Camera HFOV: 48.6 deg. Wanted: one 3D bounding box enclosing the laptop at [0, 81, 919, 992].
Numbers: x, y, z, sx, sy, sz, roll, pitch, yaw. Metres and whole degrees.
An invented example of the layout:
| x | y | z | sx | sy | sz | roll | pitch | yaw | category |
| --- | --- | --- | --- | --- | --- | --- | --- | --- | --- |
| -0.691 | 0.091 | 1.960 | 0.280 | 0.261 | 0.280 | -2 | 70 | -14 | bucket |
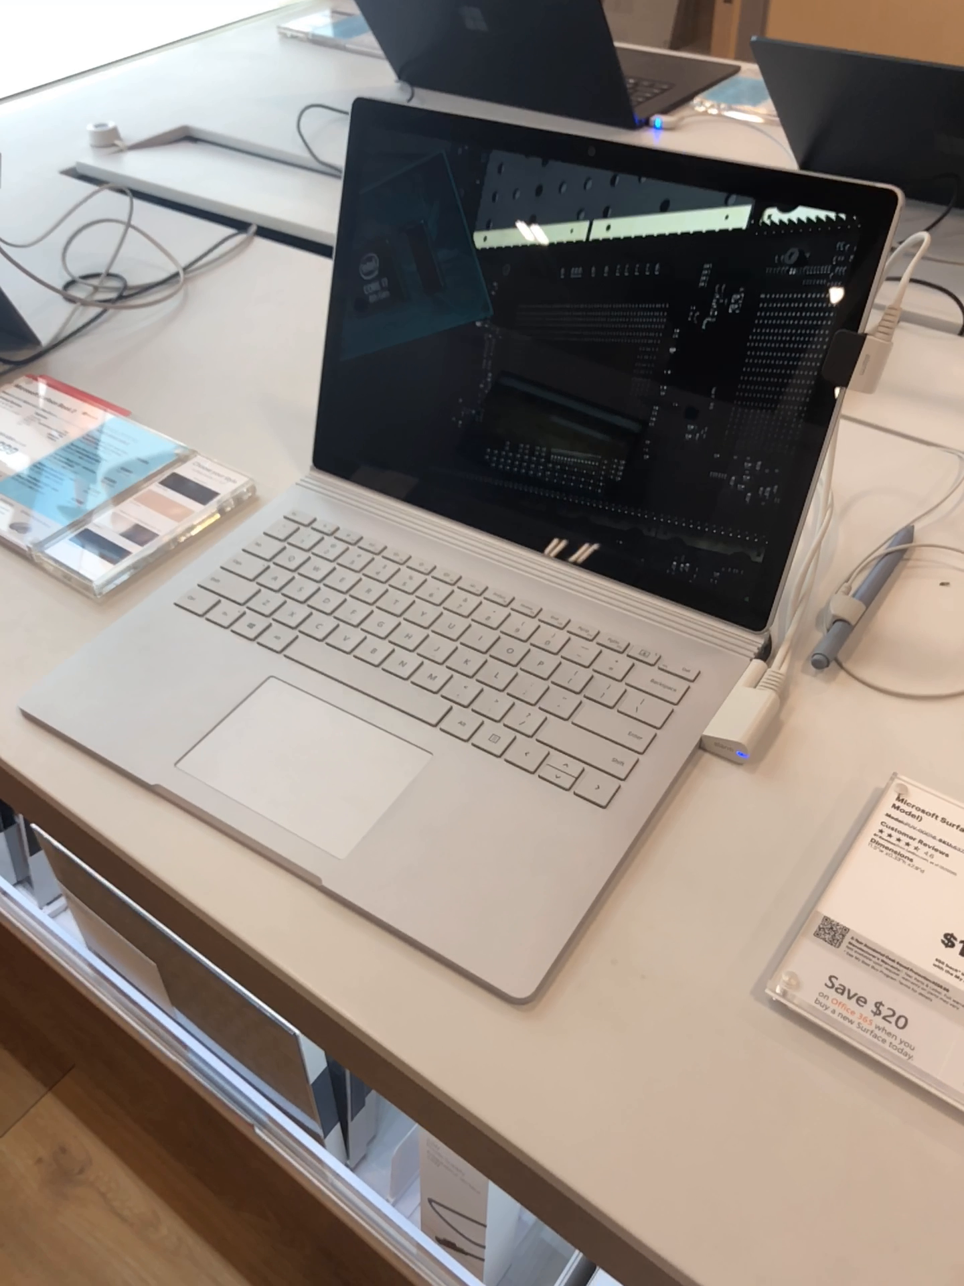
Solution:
| x | y | z | sx | sy | sz | roll | pitch | yaw | category |
| --- | --- | --- | --- | --- | --- | --- | --- | --- | --- |
| -0.017 | -0.088 | 0.491 | 0.291 | 0.191 | 0.312 | 24 | 50 | 26 | laptop |
